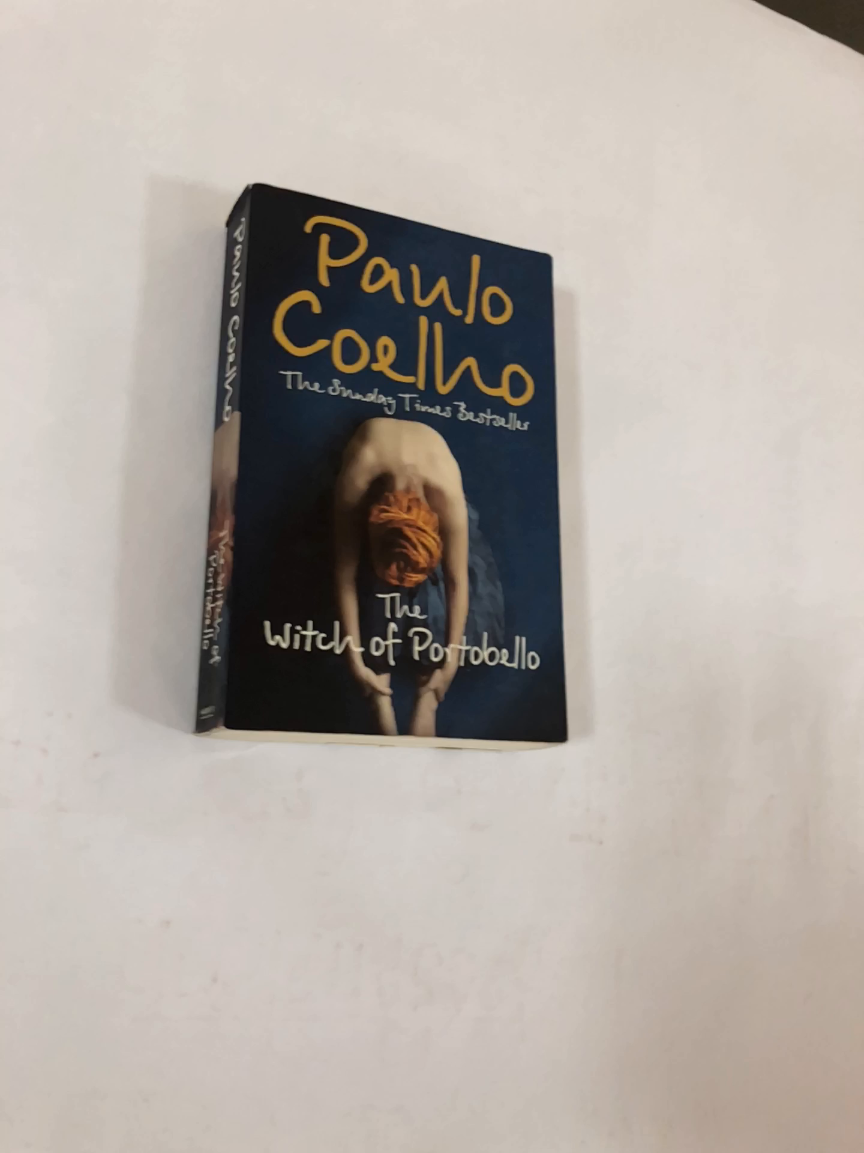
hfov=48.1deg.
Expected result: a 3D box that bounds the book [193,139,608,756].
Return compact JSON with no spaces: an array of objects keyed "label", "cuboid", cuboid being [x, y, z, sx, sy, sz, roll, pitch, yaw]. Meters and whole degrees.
[{"label":"book","cuboid":[-0.007,-0.037,0.310,0.120,0.030,0.180,7,73,-23]}]
